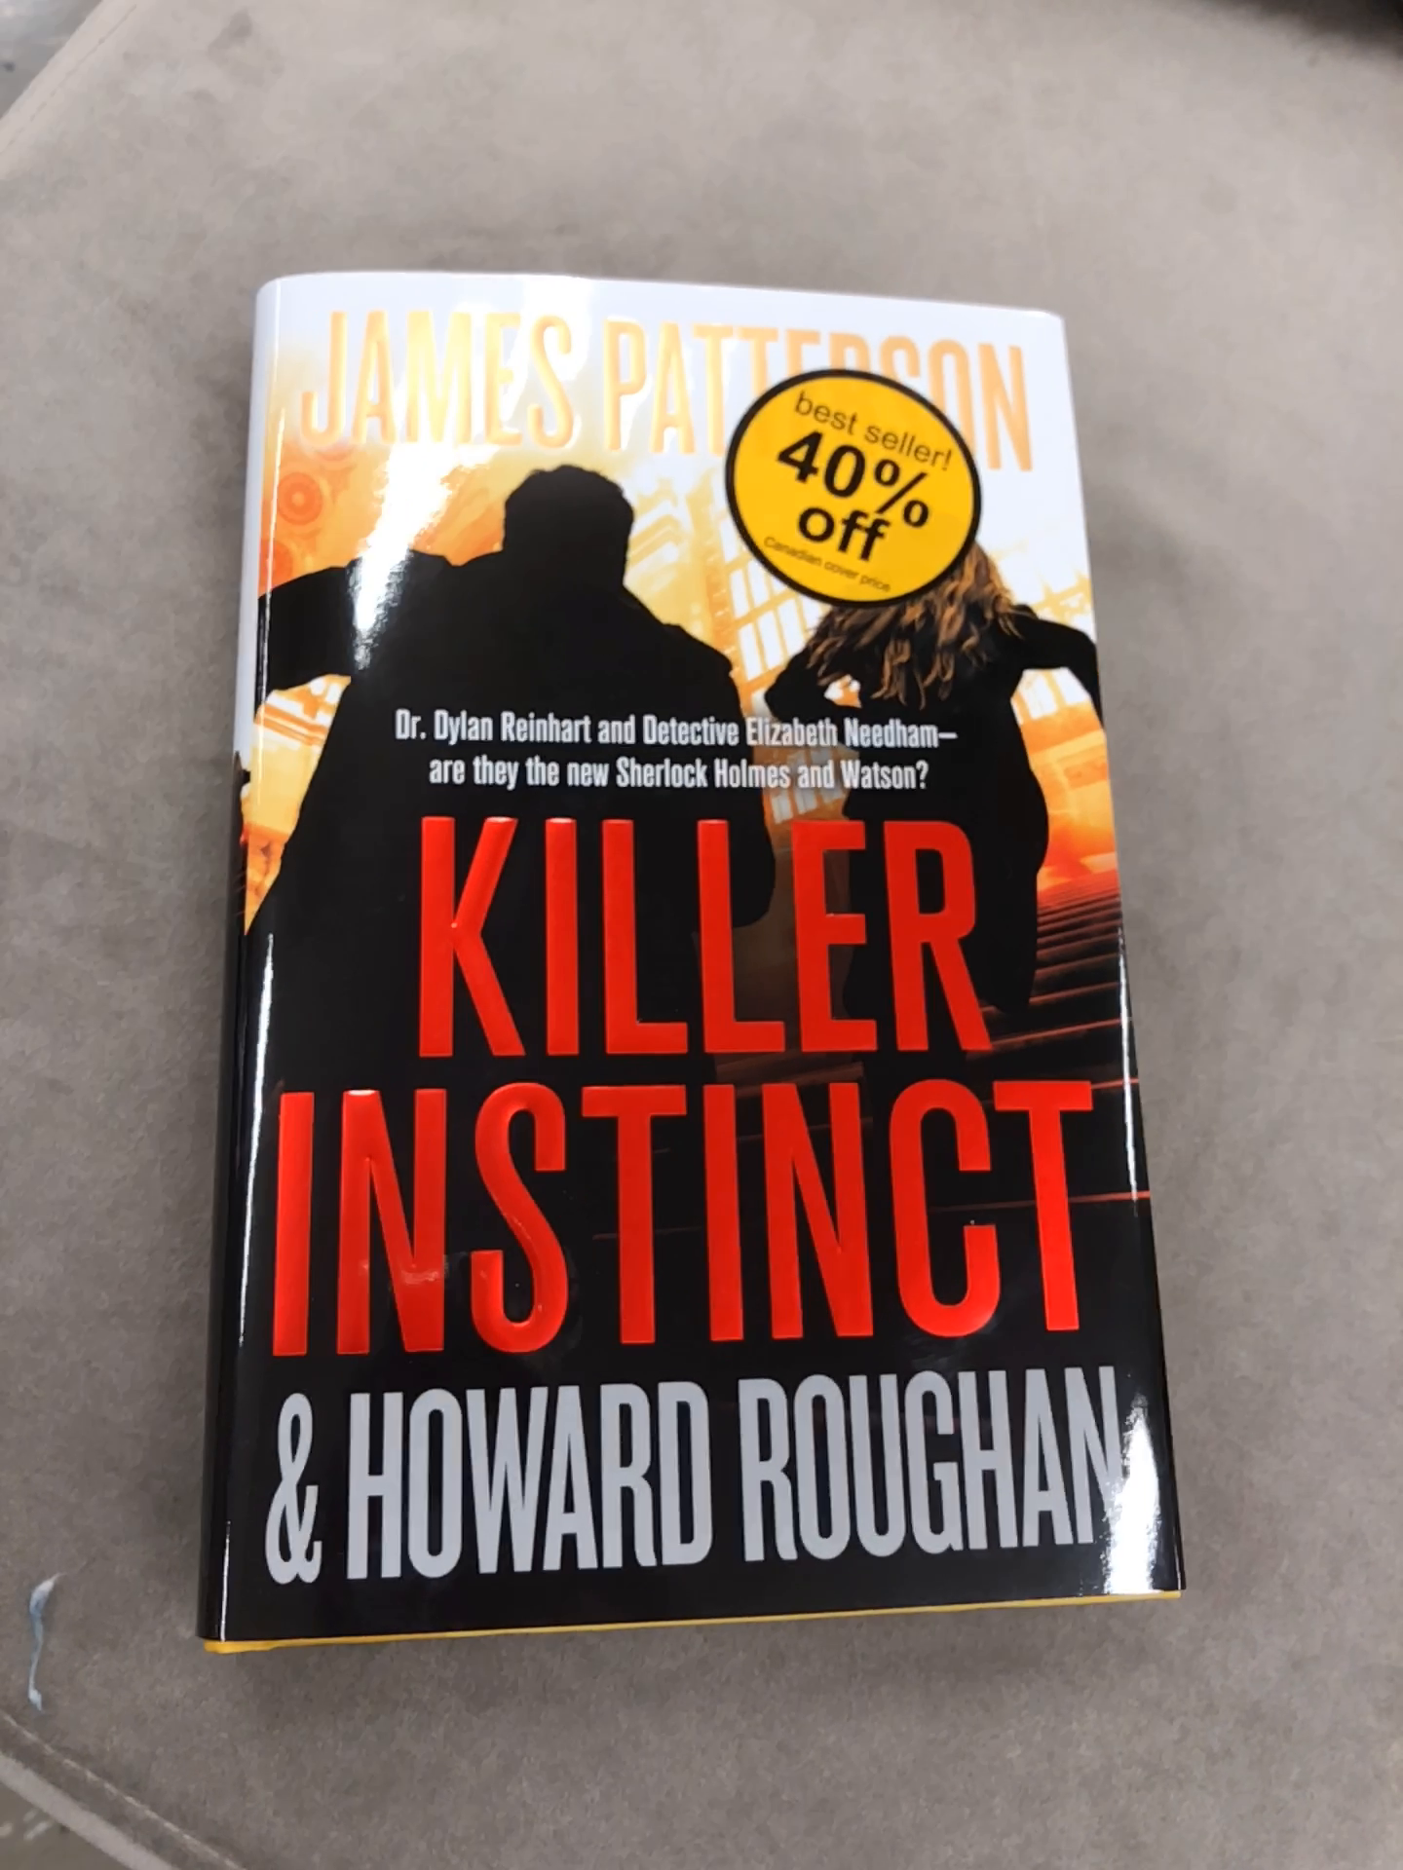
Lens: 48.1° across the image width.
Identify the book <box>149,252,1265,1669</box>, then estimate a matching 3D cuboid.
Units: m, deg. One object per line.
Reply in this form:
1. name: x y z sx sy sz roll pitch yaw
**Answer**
1. book: 0.000 -0.003 0.286 0.172 0.038 0.237 1 76 -7
